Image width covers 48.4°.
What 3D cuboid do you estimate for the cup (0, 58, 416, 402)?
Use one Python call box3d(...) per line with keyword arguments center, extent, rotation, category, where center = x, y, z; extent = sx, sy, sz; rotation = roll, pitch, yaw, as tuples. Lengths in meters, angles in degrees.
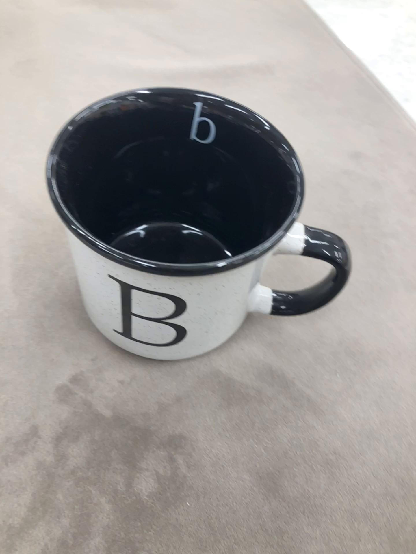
box3d(center=(0.007, -0.020, 0.220), extent=(0.150, 0.090, 0.100), rotation=(12, 55, 1), category="cup")
